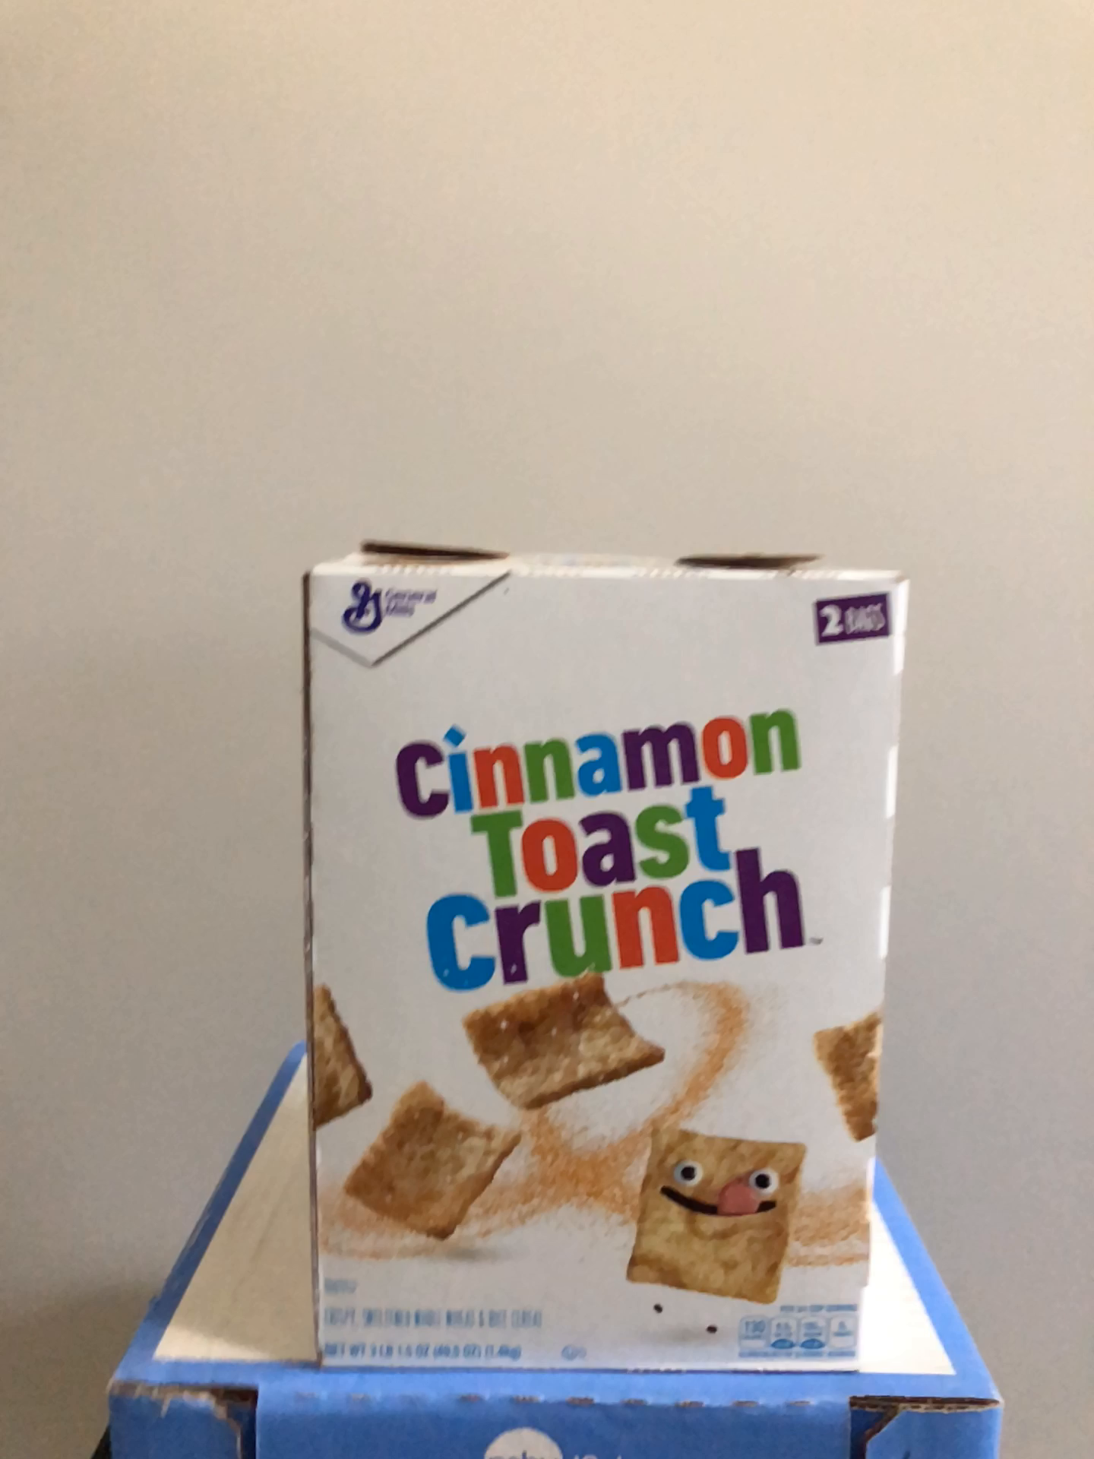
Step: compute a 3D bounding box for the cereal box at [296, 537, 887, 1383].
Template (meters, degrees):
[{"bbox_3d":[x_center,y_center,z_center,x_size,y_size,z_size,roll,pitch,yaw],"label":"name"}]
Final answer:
[{"bbox_3d":[0.012,0.077,0.514,0.200,0.310,0.170,0,8,-1],"label":"cereal box"}]
